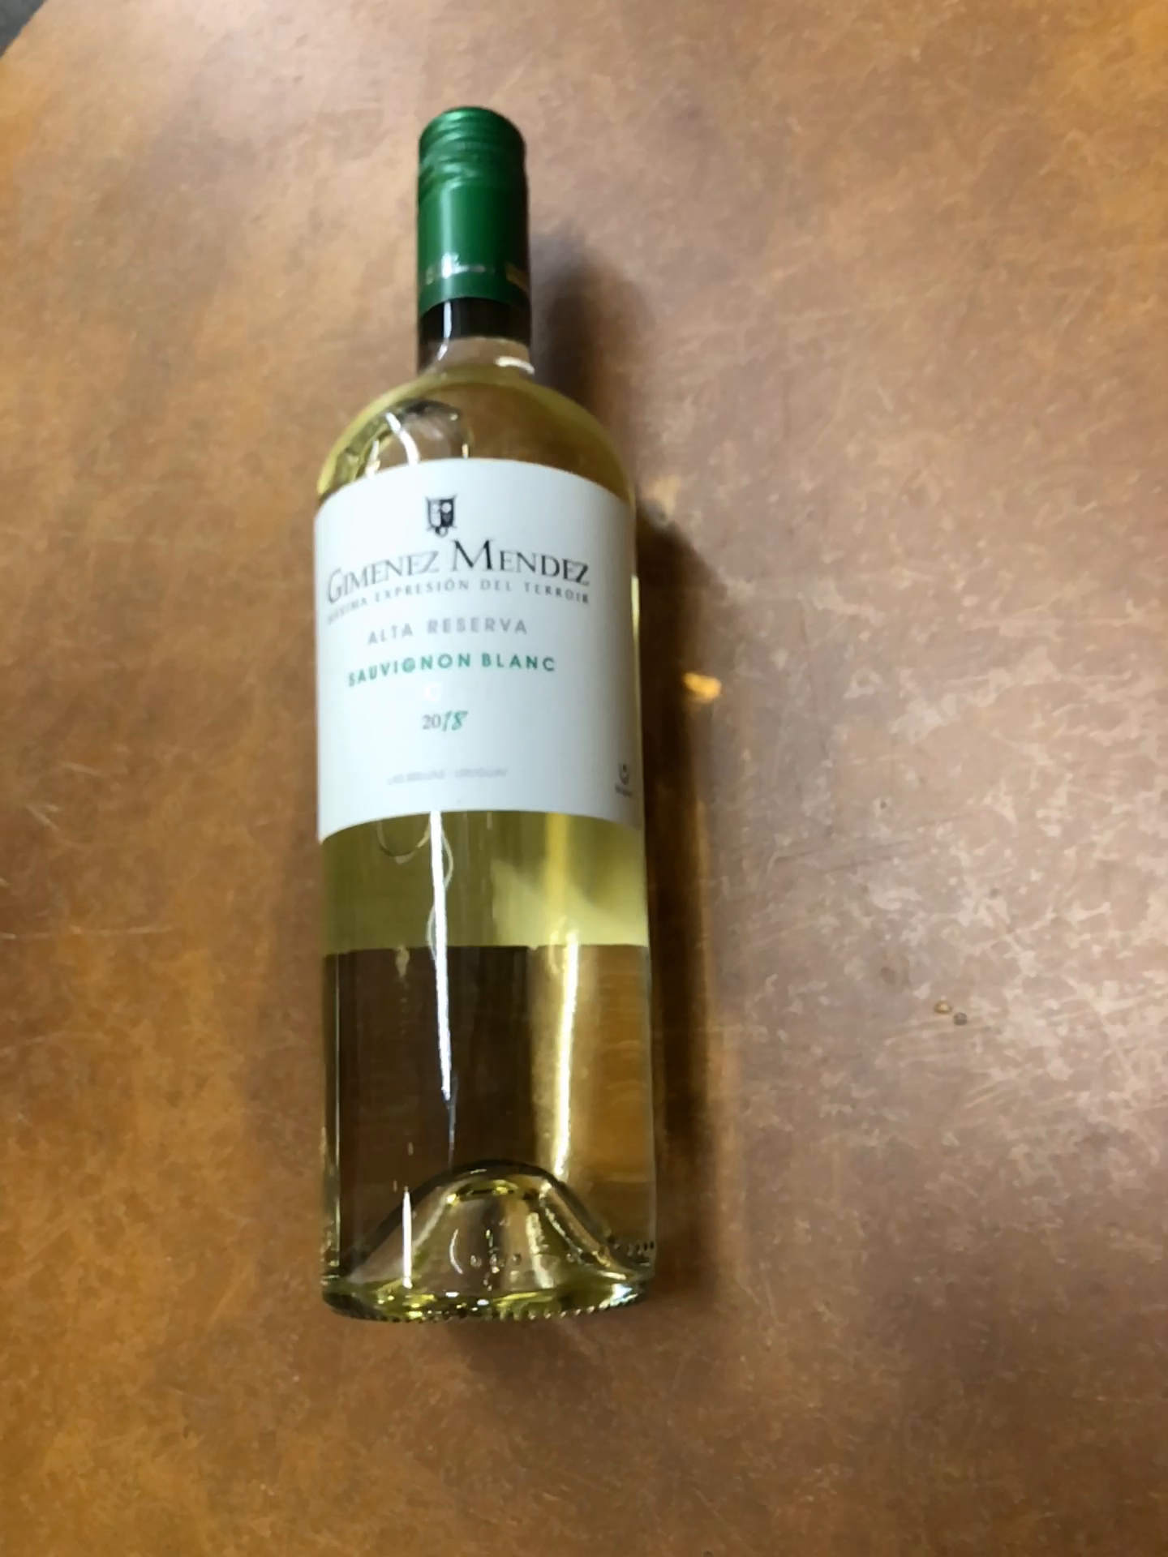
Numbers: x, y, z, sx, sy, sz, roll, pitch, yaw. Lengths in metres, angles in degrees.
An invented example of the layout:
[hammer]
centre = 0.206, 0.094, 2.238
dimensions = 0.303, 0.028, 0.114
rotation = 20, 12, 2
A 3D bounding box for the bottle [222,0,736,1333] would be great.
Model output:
[bottle]
centre = -0.026, -0.037, 0.304
dimensions = 0.090, 0.050, 0.300
rotation = -9, 72, 22
